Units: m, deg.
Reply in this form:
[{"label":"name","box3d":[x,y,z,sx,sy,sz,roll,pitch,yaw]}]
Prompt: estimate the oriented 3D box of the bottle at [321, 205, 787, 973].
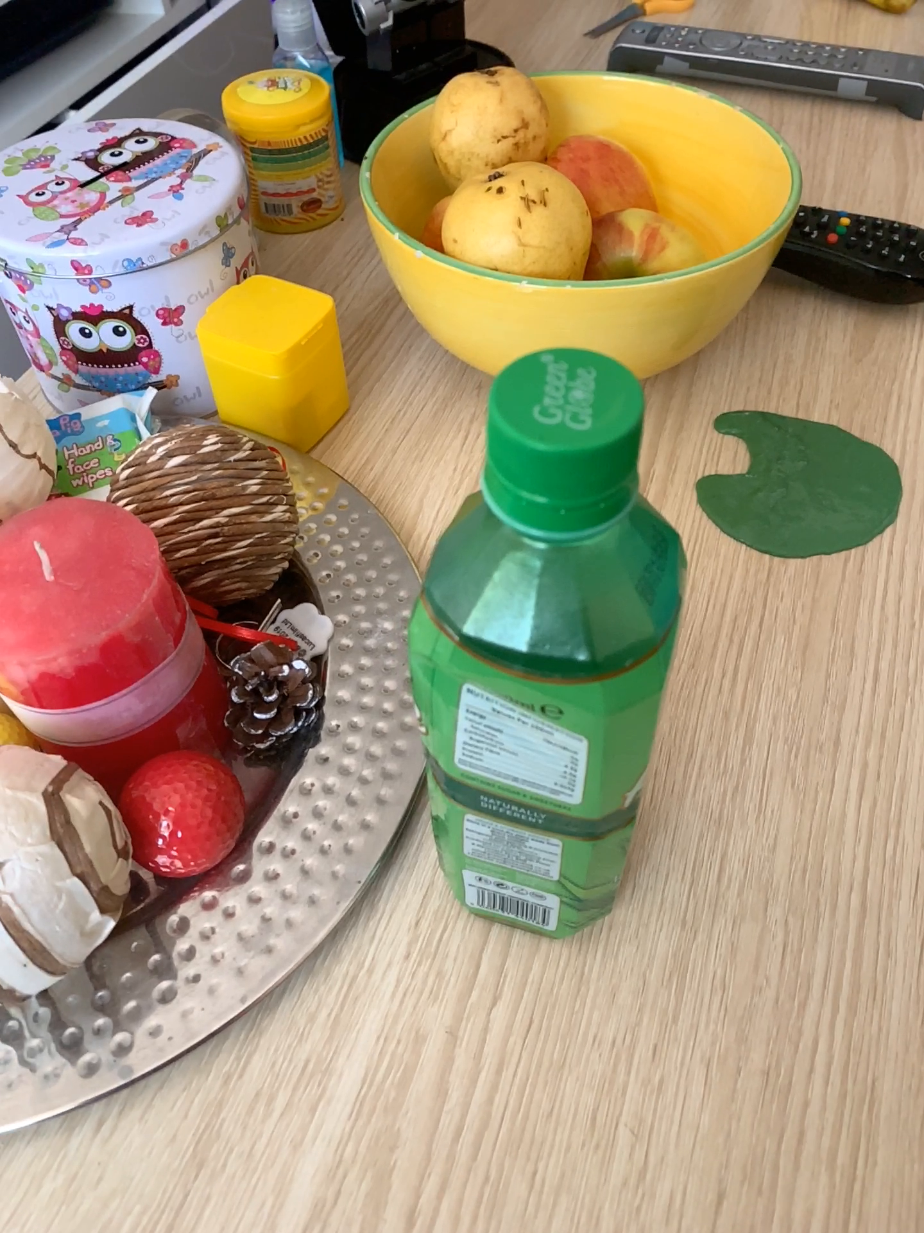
[{"label":"bottle","box3d":[0.024,0.015,0.256,0.070,0.218,0.071,-1,51,2]}]
